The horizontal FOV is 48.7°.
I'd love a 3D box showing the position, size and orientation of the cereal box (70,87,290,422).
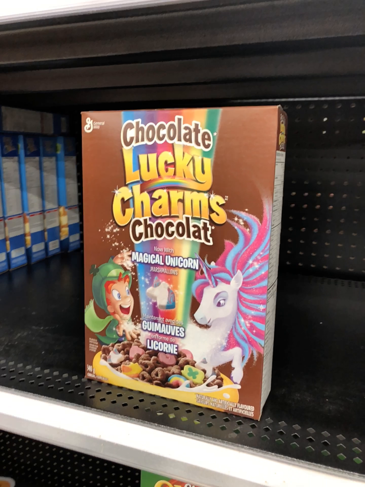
[{"bbox_3d":[-0.009,0.007,0.400,0.200,0.289,0.050,5,11,22],"label":"cereal box"}]
